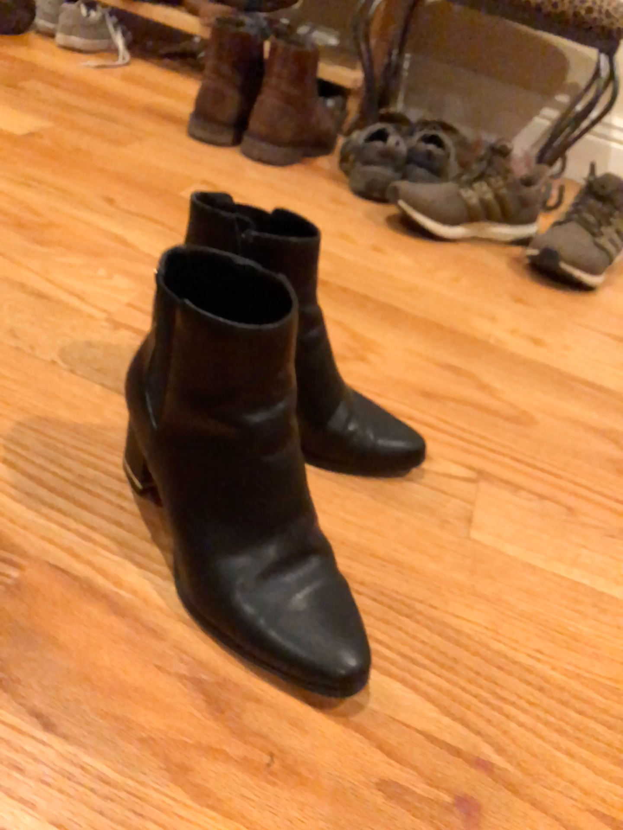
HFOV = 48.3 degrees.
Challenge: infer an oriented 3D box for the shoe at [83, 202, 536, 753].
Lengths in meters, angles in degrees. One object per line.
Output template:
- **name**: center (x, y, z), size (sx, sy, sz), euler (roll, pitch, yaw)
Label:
- **shoe**: center (-0.030, 0.015, 0.383), size (0.095, 0.175, 0.237), euler (-12, 44, -36)

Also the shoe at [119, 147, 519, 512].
- **shoe**: center (0.000, -0.061, 0.504), size (0.236, 0.175, 0.096), euler (19, 34, 2)
